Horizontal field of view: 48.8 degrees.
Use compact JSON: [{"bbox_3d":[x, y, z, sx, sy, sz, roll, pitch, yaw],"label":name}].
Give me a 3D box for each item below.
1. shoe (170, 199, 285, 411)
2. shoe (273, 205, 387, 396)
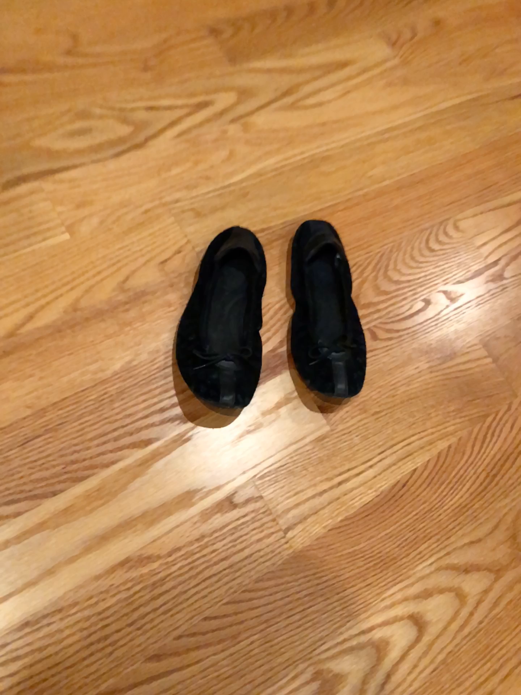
[{"bbox_3d":[-0.033,-0.049,0.633,0.100,0.050,0.220,10,65,-13],"label":"shoe"},{"bbox_3d":[0.076,-0.056,0.668,0.093,0.046,0.220,1,67,-16],"label":"shoe"}]
